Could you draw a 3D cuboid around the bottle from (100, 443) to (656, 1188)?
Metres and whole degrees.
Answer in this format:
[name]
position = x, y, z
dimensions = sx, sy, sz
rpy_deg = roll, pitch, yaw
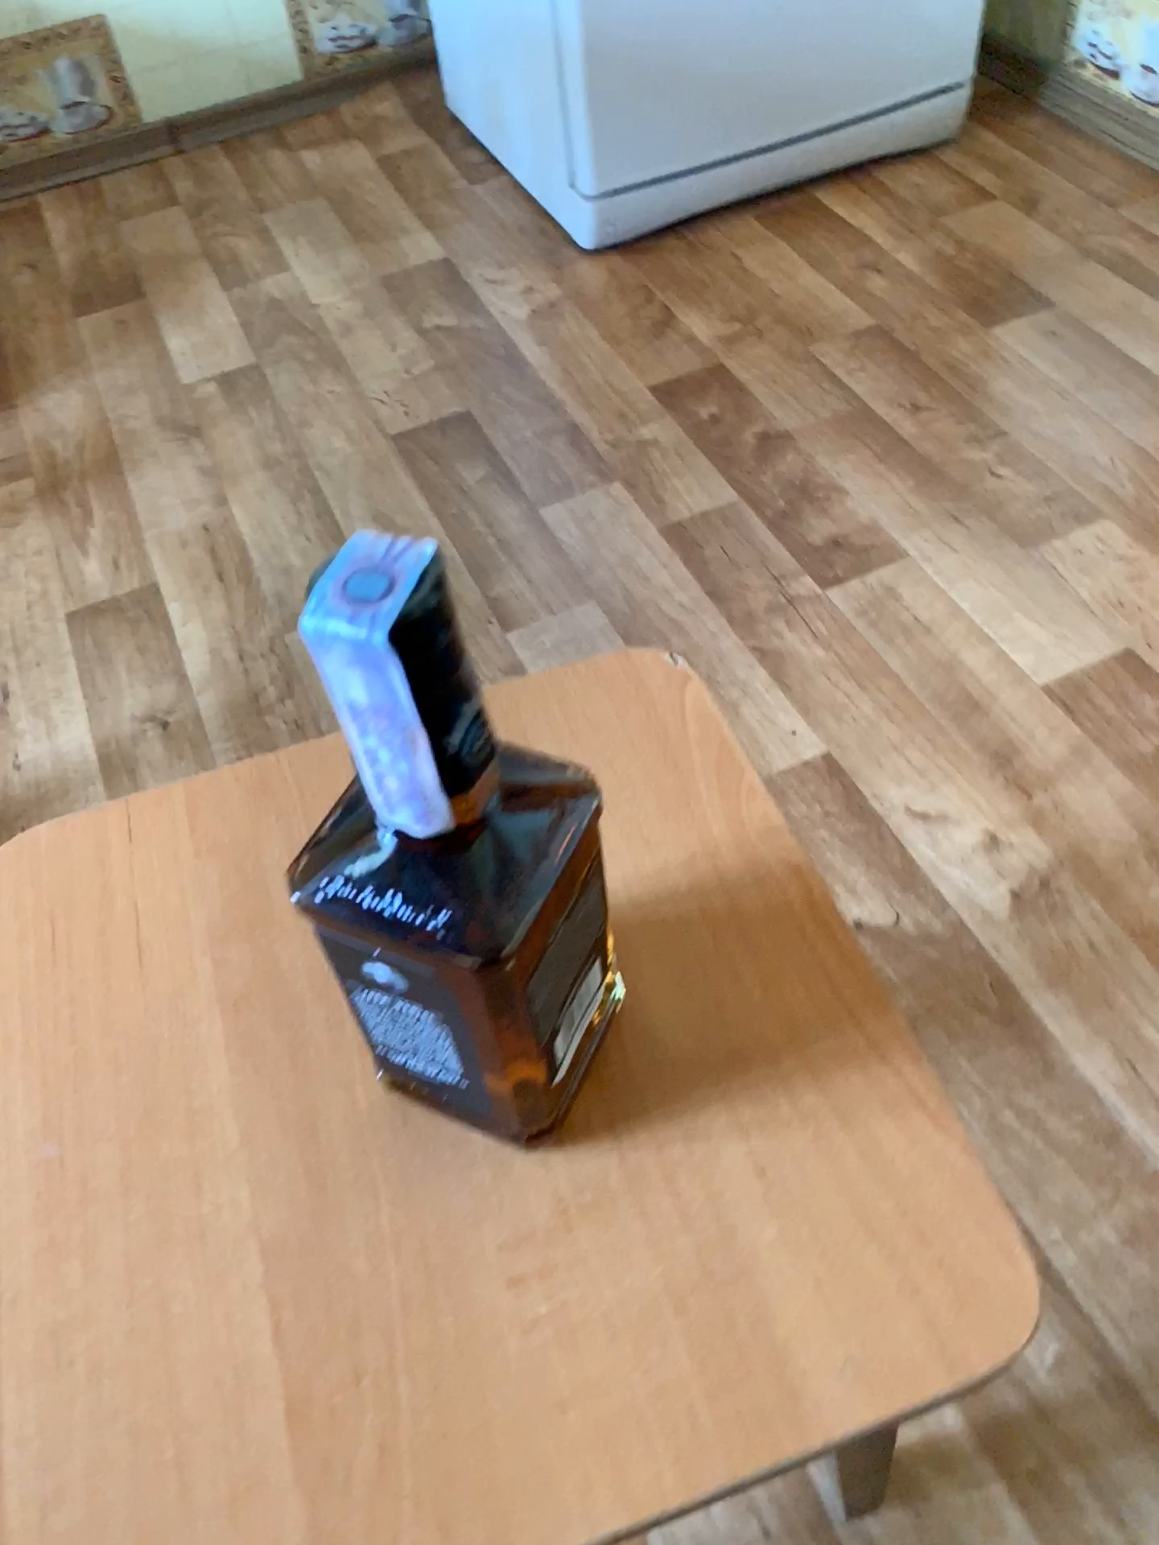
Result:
[bottle]
position = -0.035, 0.027, 0.330
dimensions = 0.080, 0.209, 0.080
rpy_deg = -3, 51, 4
